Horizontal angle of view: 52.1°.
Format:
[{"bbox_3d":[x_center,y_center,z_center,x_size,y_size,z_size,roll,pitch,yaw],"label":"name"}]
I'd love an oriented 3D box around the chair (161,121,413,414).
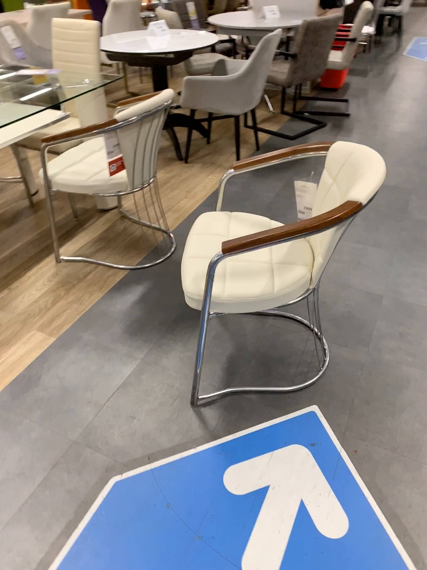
[{"bbox_3d":[0.198,-0.063,1.534,0.600,0.816,0.603,1,37,3],"label":"chair"}]
